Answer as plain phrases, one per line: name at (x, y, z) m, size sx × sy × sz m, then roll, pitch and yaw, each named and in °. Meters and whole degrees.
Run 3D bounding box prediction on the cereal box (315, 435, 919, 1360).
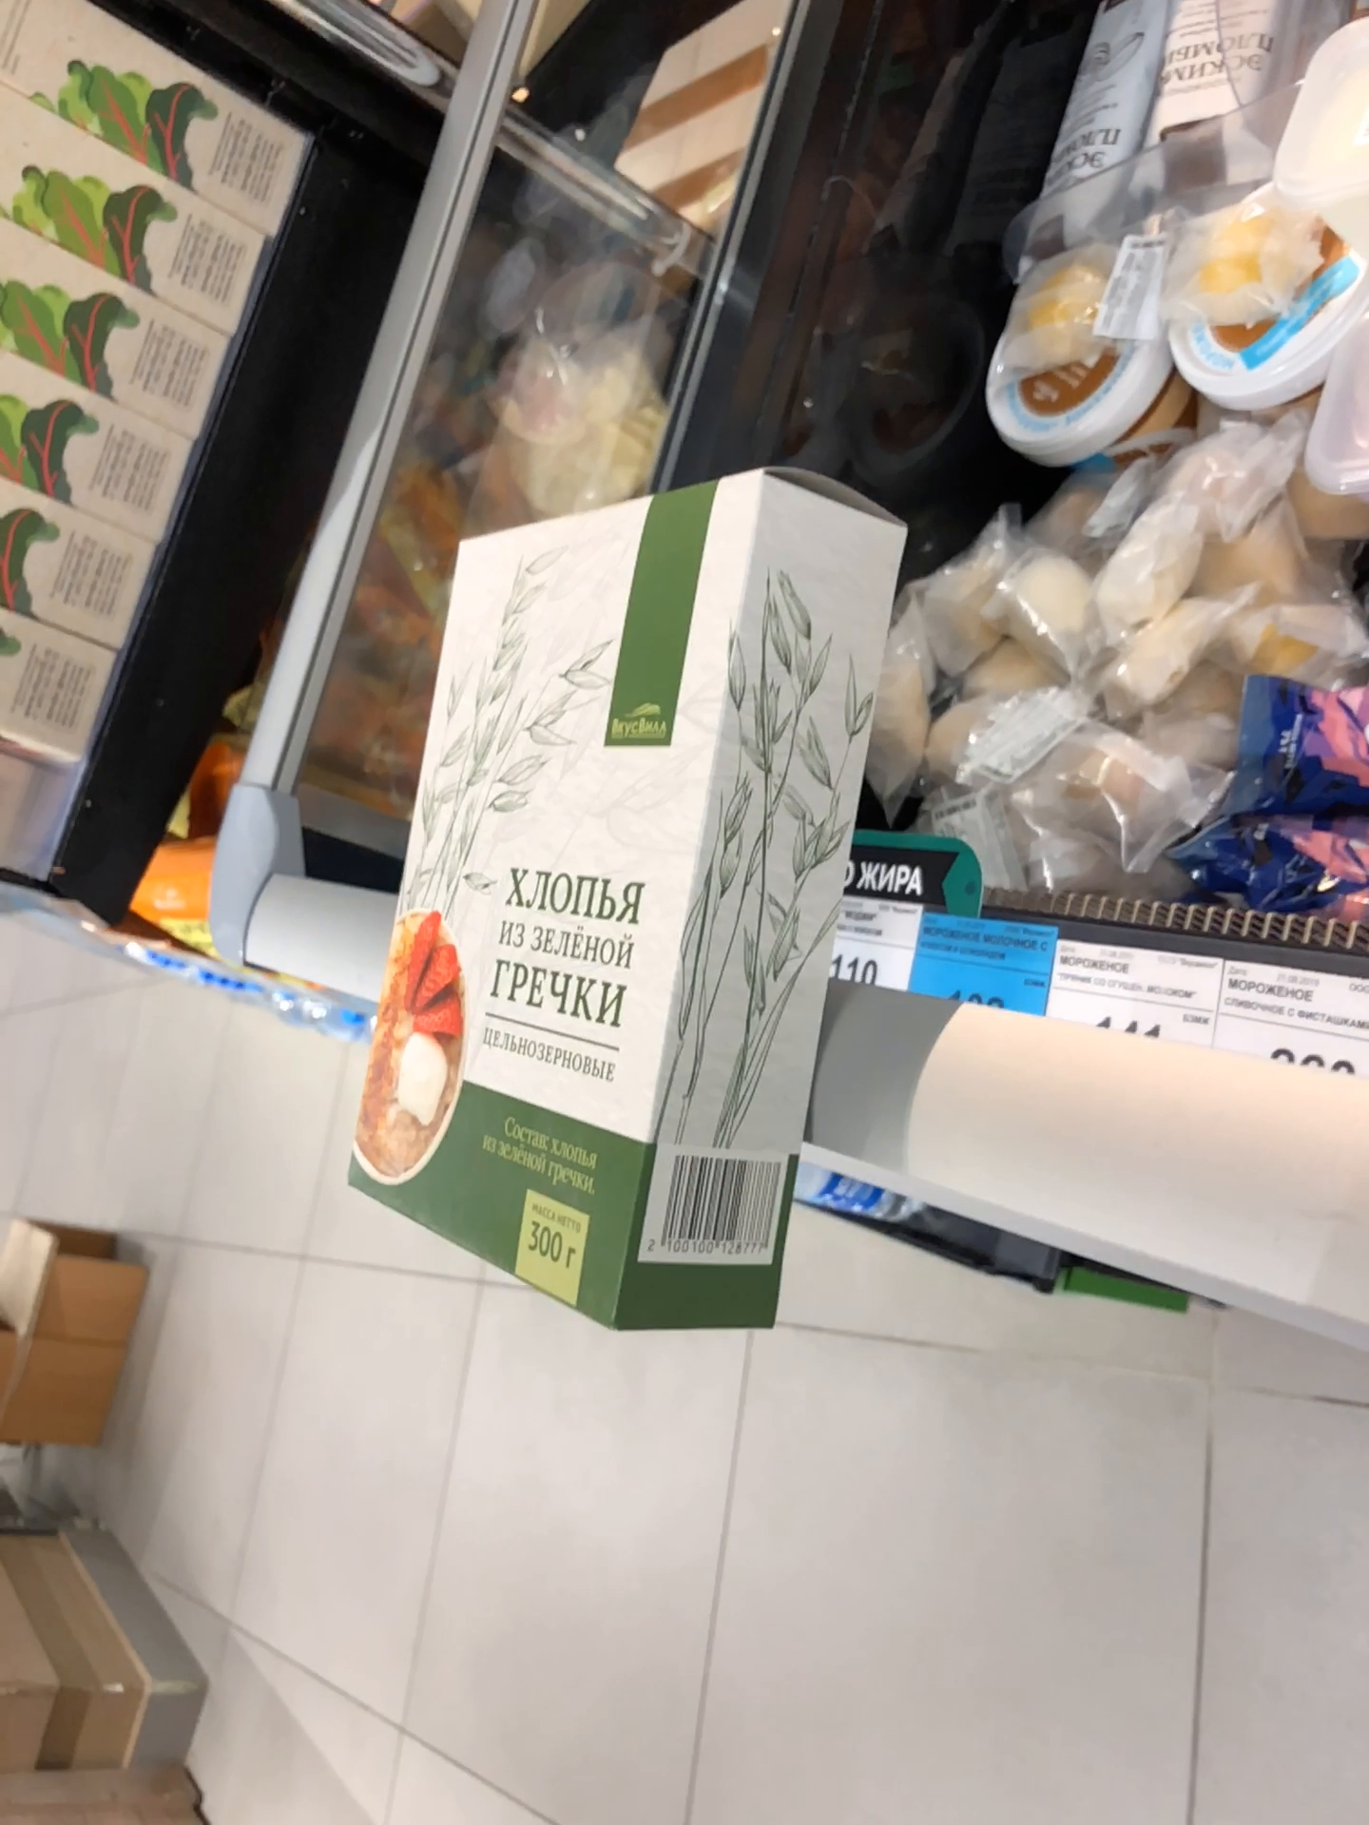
cereal box at (-0.027, -0.008, 0.398) m, size 0.151 × 0.050 × 0.200 m, roll 9°, pitch 90°, yaw 52°
